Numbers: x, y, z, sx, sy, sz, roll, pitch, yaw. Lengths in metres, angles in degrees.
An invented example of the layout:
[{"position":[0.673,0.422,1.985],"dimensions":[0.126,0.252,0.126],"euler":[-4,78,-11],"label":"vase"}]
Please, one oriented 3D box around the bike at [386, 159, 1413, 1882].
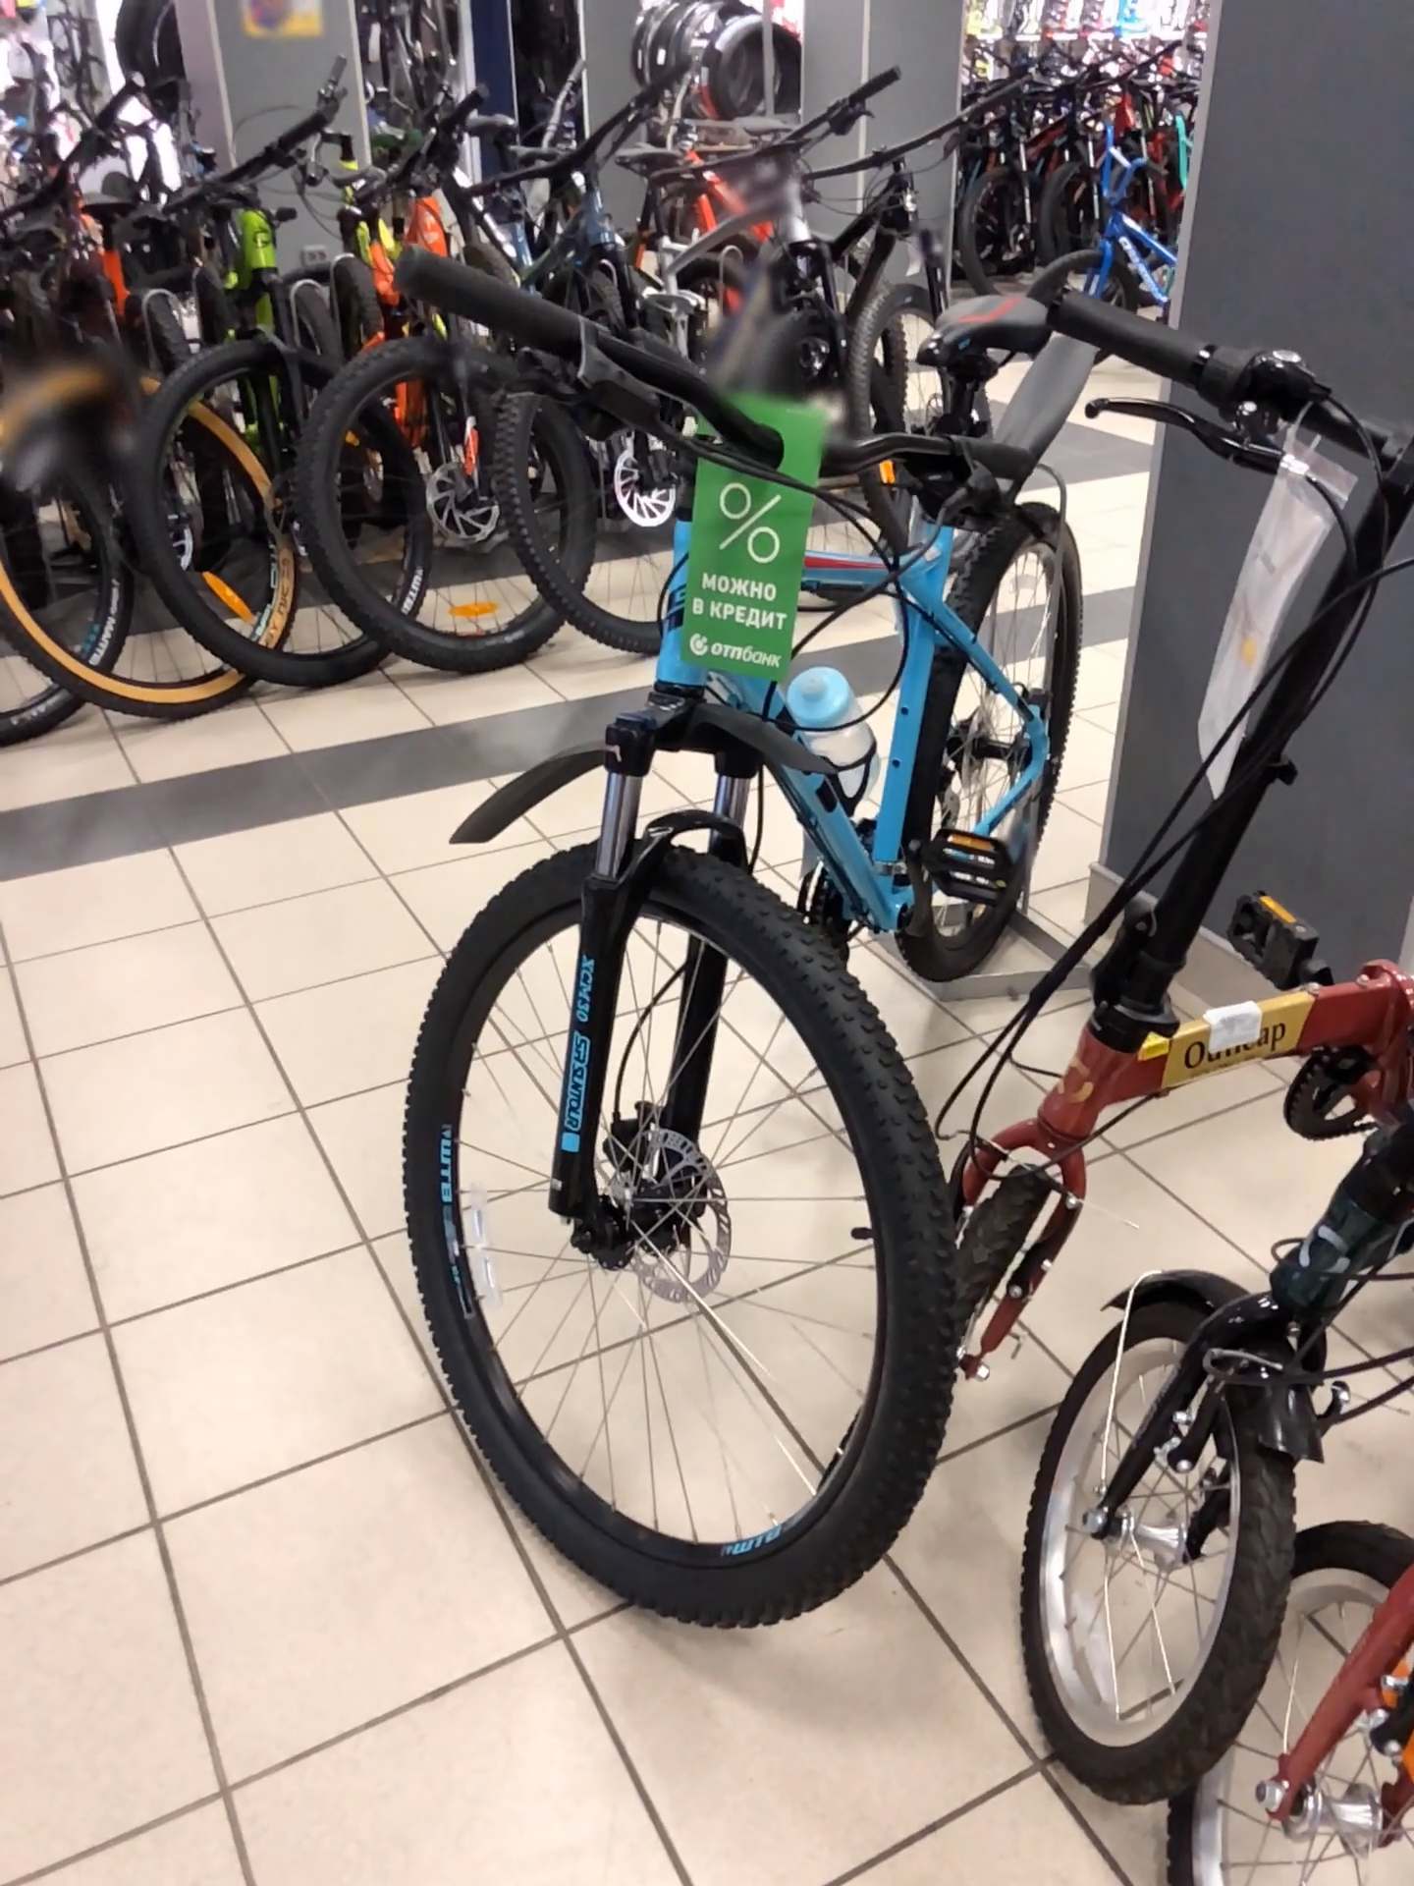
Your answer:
[{"position":[0.333,-0.205,1.745],"dimensions":[0.692,1.084,1.619],"euler":[7,31,14],"label":"bike"}]
